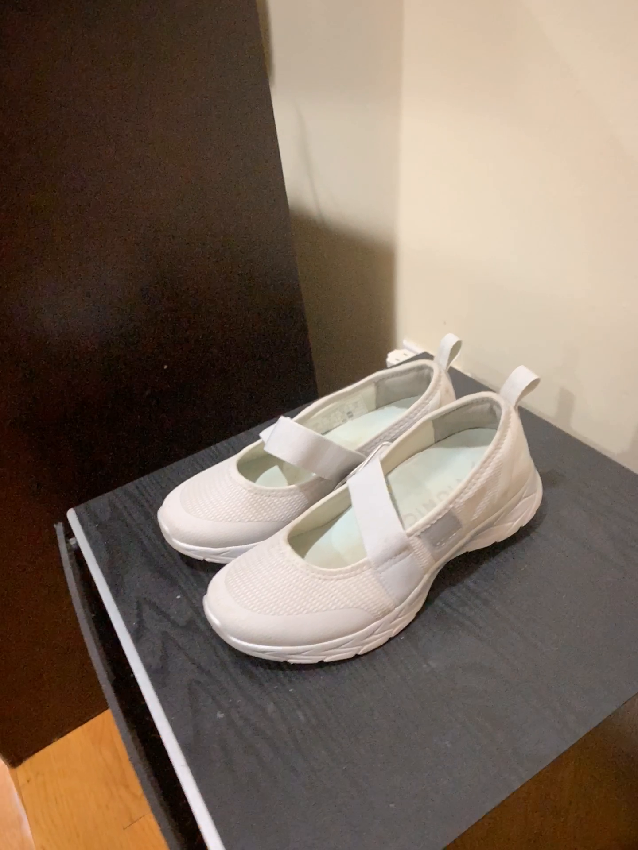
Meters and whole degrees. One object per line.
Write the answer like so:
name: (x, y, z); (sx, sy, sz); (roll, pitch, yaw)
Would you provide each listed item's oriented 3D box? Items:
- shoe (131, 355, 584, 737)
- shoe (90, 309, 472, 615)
shoe: (0.030, 0.060, 0.410); (0.249, 0.093, 0.103); (-24, 39, -20)
shoe: (-0.019, 0.015, 0.482); (0.249, 0.093, 0.103); (-24, 39, -20)
